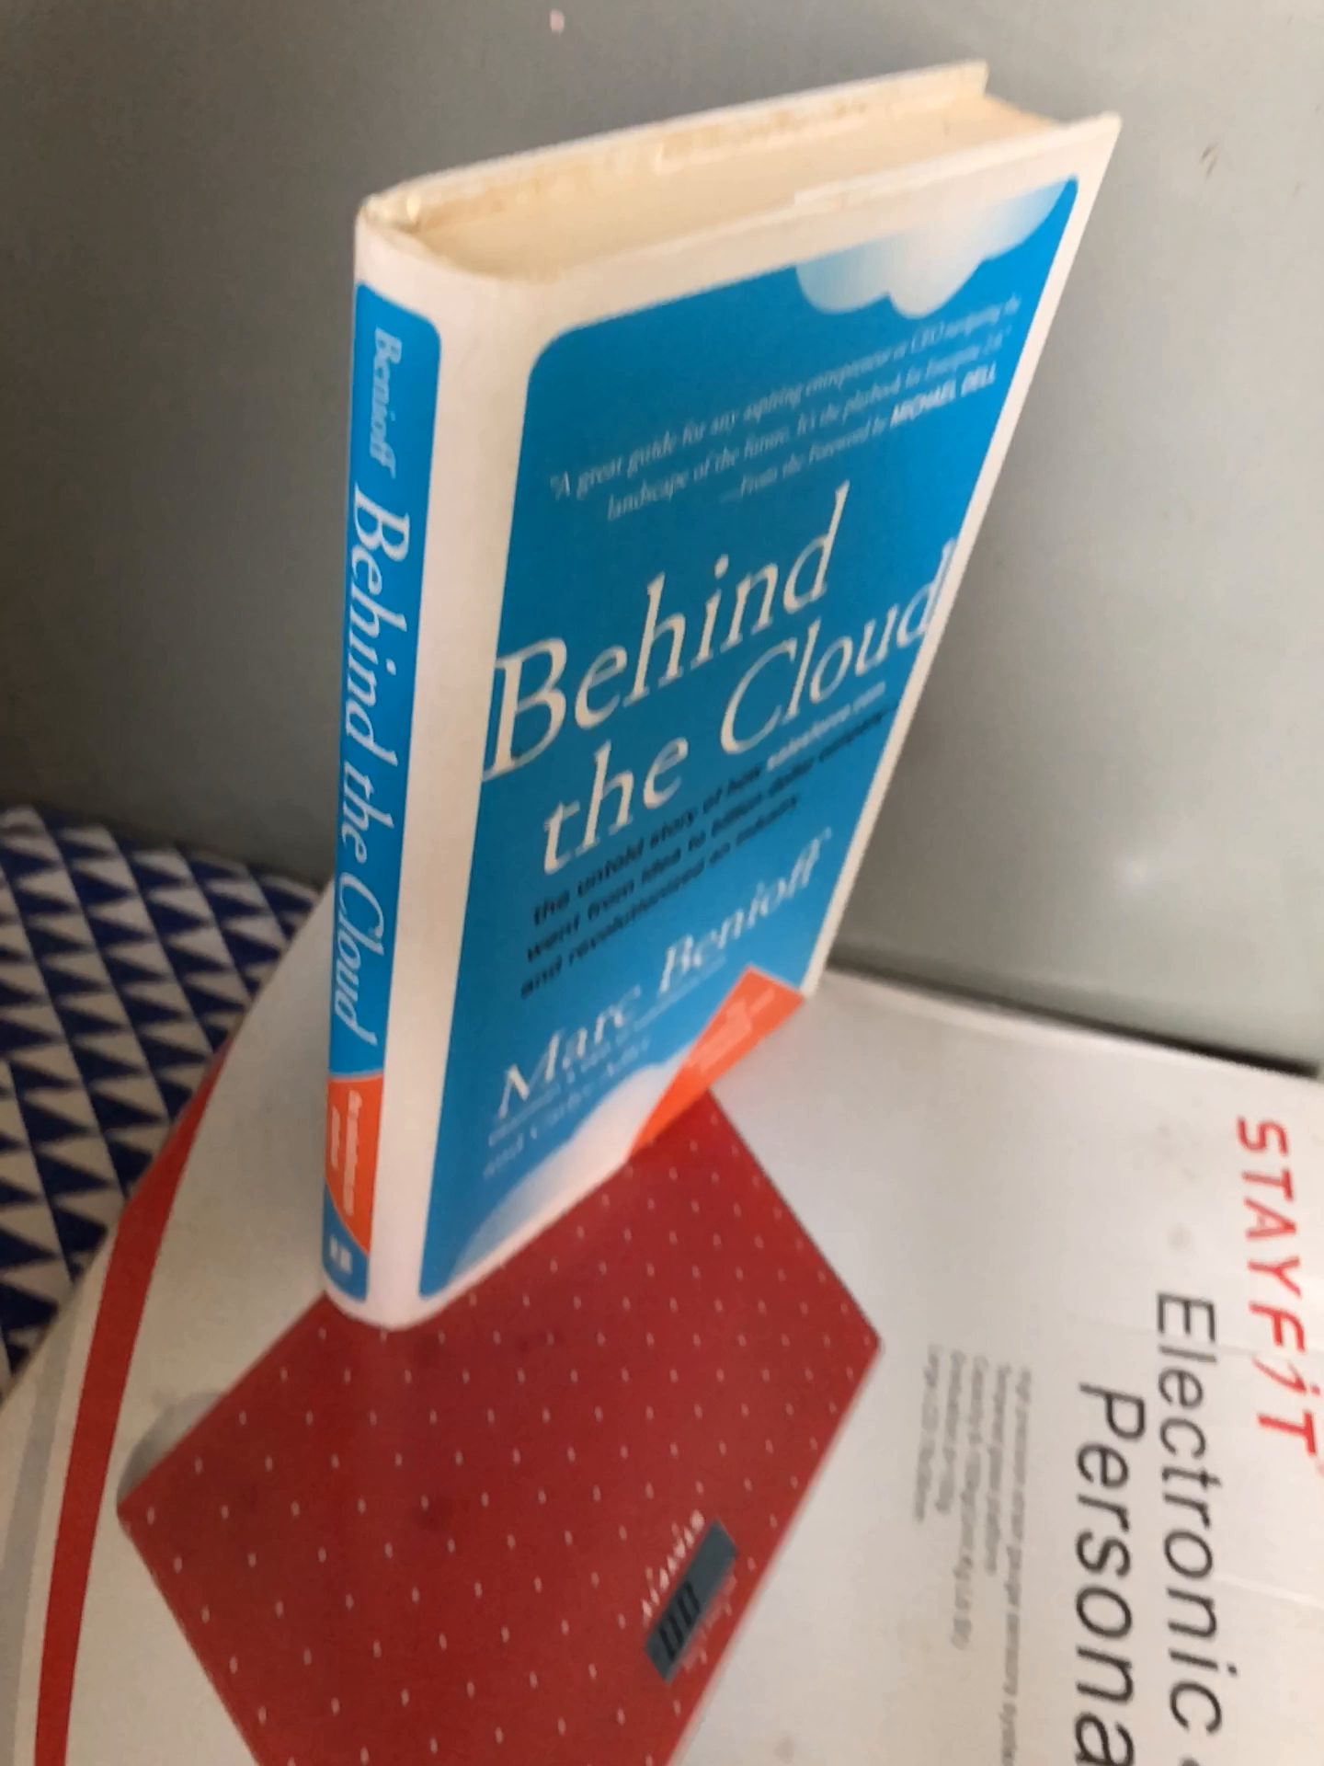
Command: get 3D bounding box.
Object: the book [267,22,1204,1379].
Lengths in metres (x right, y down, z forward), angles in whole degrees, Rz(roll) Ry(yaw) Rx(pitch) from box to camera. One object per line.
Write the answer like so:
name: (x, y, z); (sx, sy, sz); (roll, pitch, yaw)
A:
book: (0.009, -0.035, 0.308); (0.040, 0.239, 0.191); (34, 44, 24)
